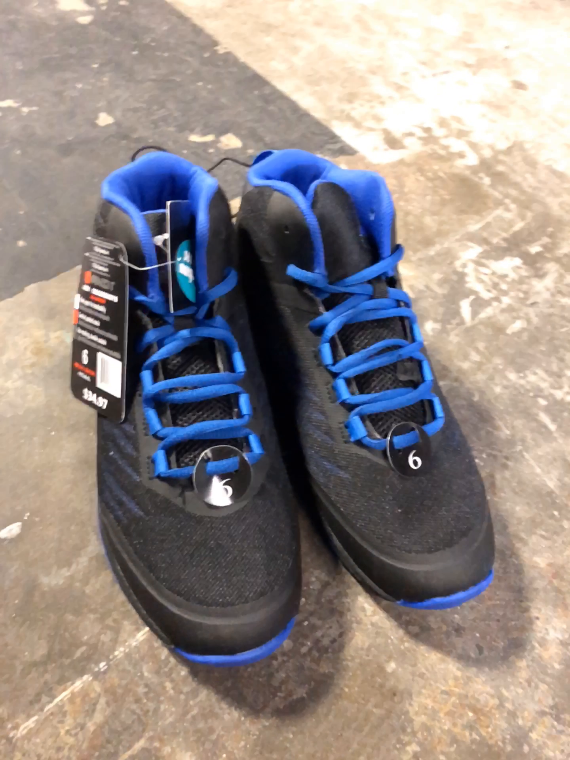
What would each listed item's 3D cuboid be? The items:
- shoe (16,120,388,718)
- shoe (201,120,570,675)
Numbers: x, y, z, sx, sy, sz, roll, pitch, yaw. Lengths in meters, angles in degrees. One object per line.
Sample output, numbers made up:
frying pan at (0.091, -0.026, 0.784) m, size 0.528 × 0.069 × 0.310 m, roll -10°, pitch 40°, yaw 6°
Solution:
shoe at (-0.045, 0.009, 0.278) m, size 0.100 × 0.119 × 0.221 m, roll -9°, pitch 57°, yaw -9°
shoe at (0.045, 0.000, 0.316) m, size 0.110 × 0.119 × 0.231 m, roll -15°, pitch 59°, yaw -12°
